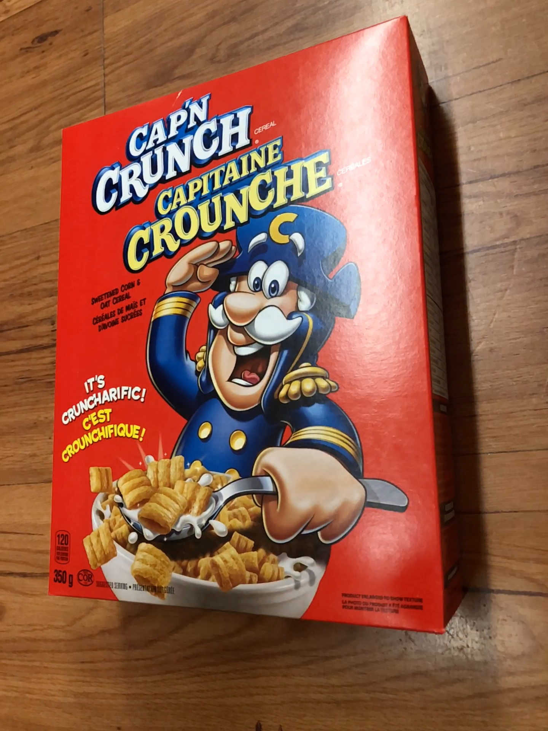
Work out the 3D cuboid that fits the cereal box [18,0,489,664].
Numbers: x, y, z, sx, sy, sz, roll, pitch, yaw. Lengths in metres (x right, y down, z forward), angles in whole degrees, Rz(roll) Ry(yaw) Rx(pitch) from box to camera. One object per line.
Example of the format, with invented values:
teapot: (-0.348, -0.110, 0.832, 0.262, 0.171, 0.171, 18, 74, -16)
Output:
cereal box: (-0.021, -0.011, 0.306, 0.221, 0.060, 0.260, -5, 81, 25)
